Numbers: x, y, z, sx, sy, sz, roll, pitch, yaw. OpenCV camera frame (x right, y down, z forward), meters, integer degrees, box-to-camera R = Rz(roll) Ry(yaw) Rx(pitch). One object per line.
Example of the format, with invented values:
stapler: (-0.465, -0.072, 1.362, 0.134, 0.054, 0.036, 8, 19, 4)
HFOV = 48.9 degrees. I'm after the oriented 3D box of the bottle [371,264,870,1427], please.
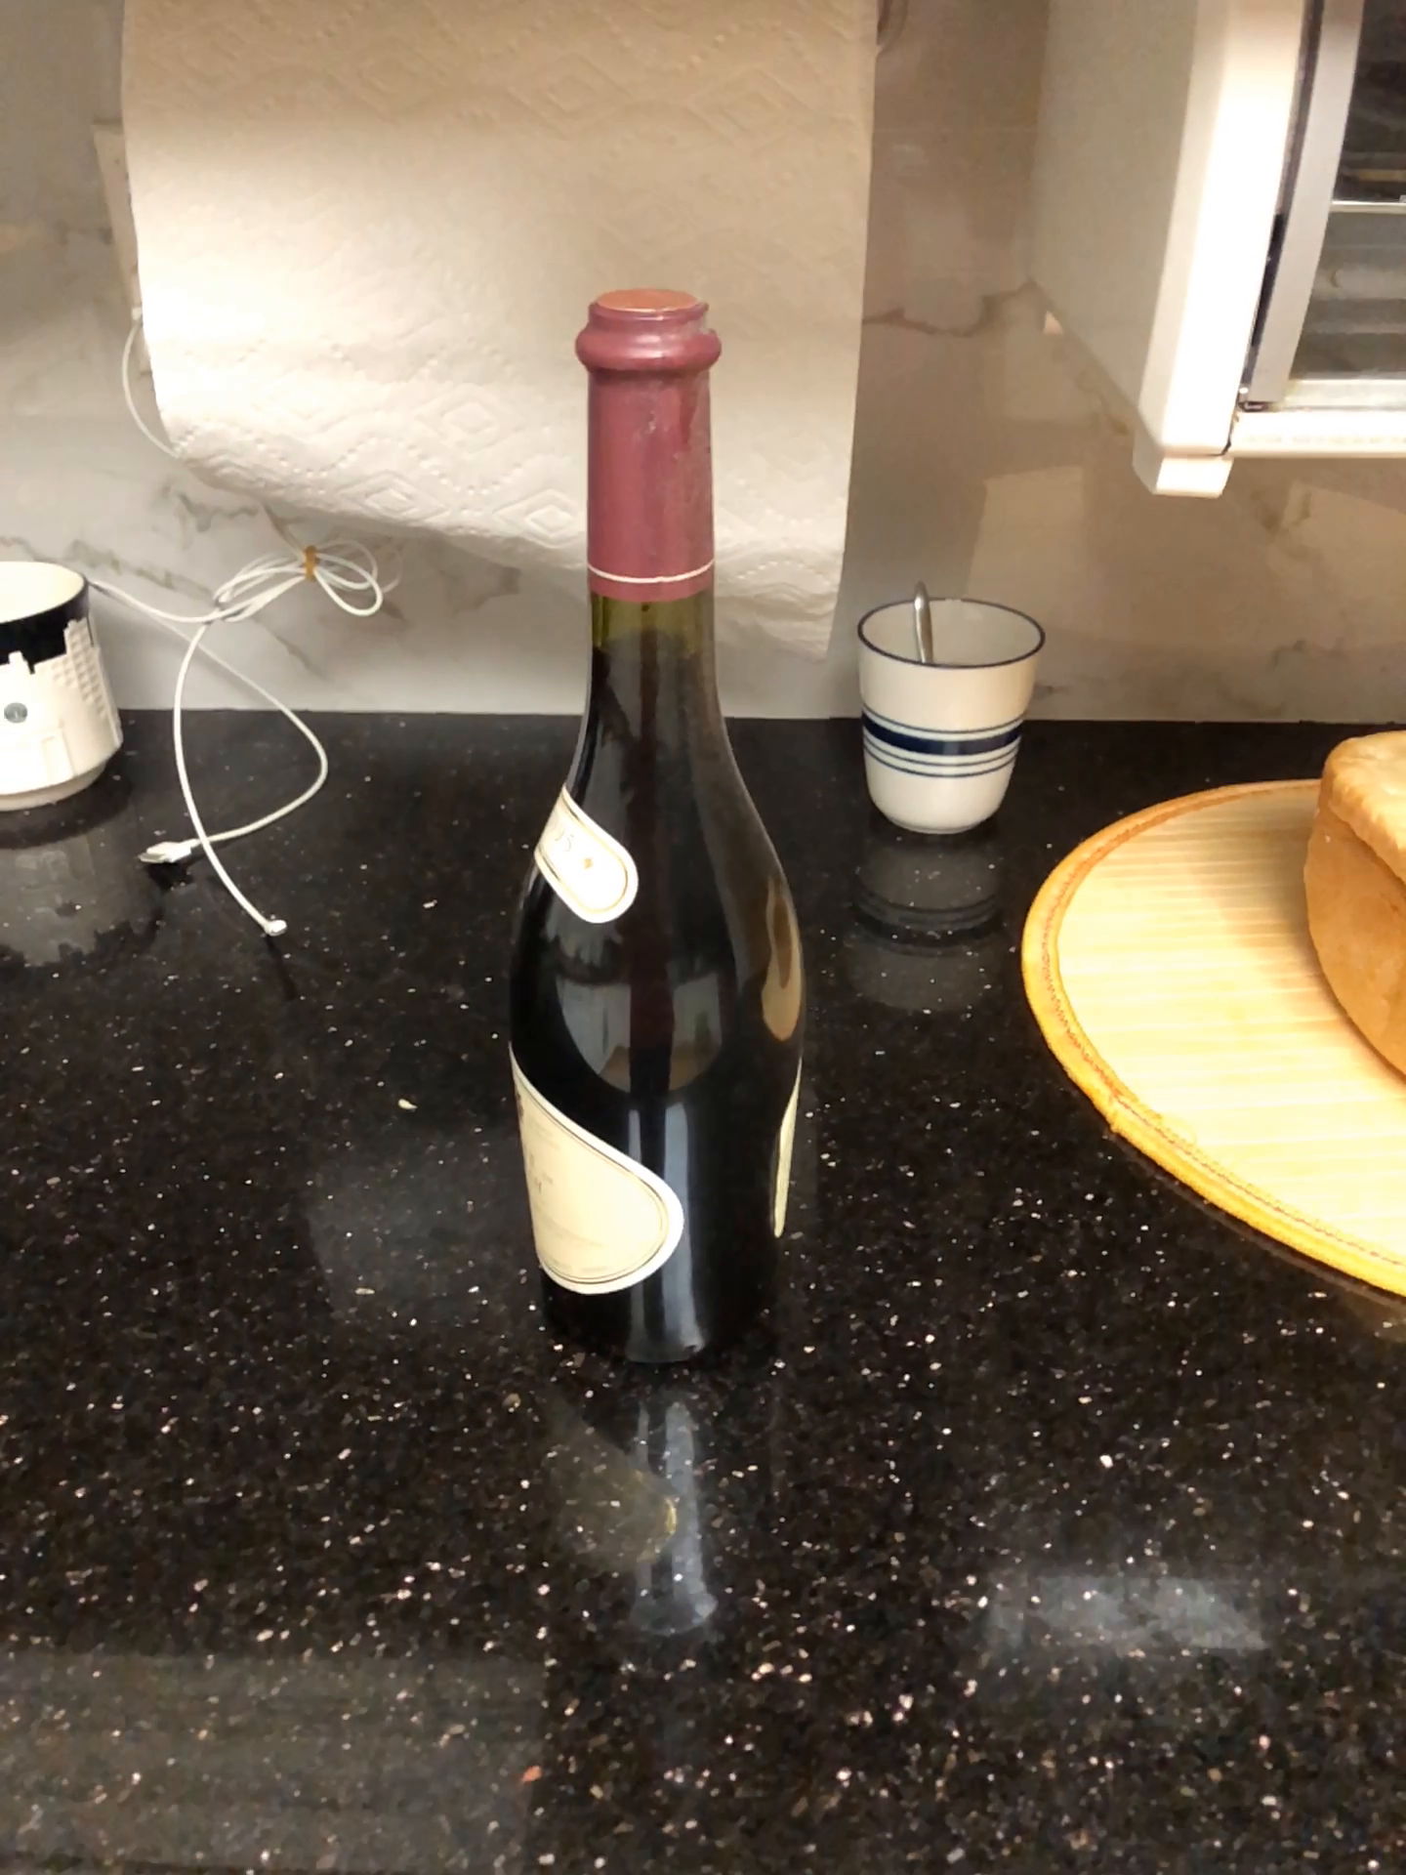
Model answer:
bottle: (-0.022, -0.014, 0.436, 0.090, 0.308, 0.090, 0, 32, 0)
